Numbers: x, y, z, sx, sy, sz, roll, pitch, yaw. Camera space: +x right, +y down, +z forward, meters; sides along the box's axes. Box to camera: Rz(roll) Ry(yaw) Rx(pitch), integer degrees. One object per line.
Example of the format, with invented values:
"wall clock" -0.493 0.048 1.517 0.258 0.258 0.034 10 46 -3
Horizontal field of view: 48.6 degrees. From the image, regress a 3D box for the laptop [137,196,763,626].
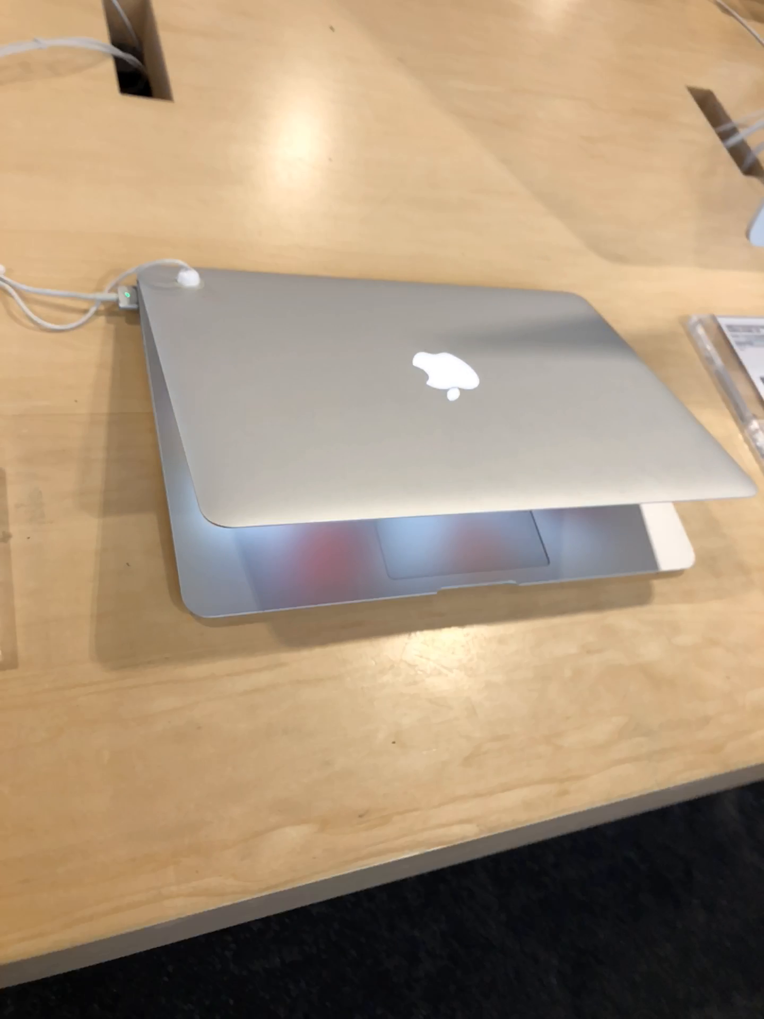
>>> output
"laptop" 0.040 -0.062 0.479 0.316 0.067 0.215 -3 60 -23
